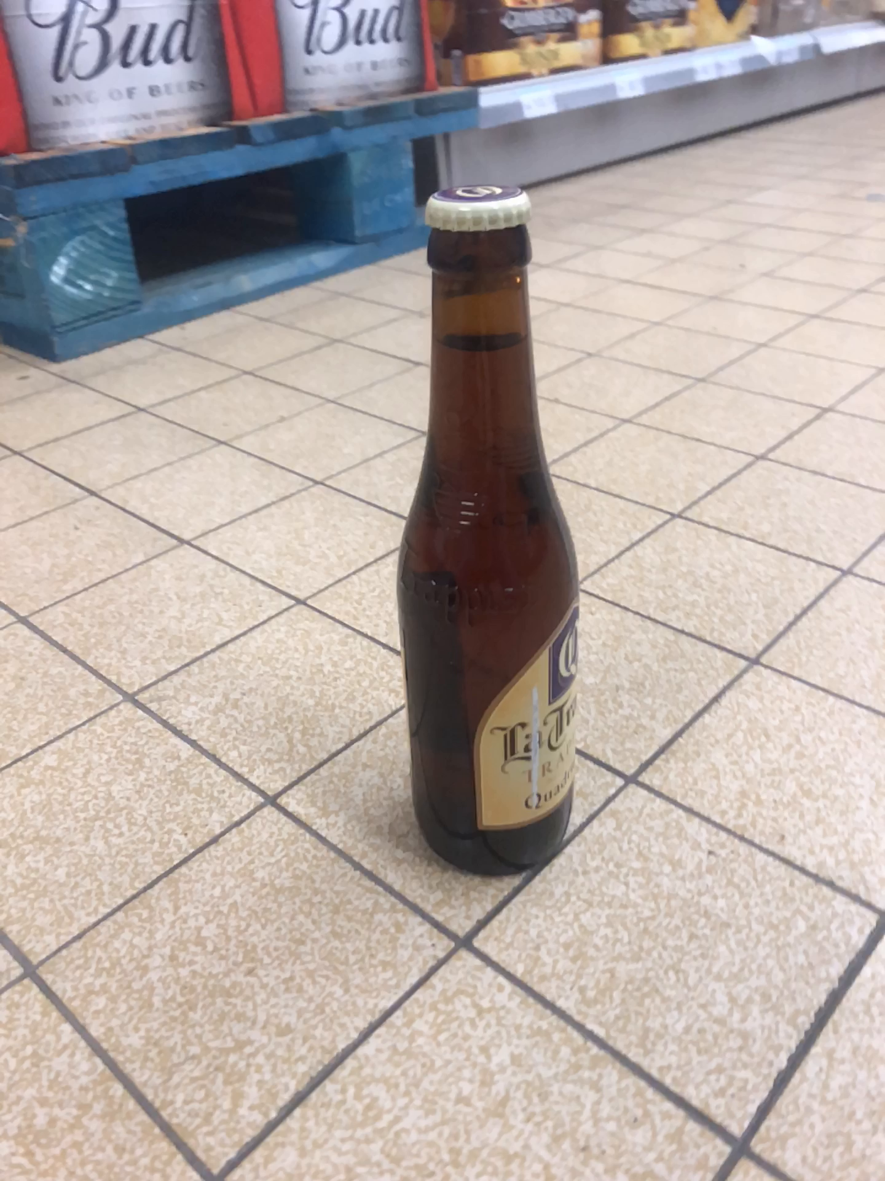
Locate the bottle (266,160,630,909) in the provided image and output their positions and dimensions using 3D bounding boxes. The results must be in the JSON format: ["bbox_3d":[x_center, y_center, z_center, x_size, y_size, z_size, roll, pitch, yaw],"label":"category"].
[{"bbox_3d":[0.009,-0.011,0.309,0.070,0.219,0.070,-2,32,1],"label":"bottle"}]
